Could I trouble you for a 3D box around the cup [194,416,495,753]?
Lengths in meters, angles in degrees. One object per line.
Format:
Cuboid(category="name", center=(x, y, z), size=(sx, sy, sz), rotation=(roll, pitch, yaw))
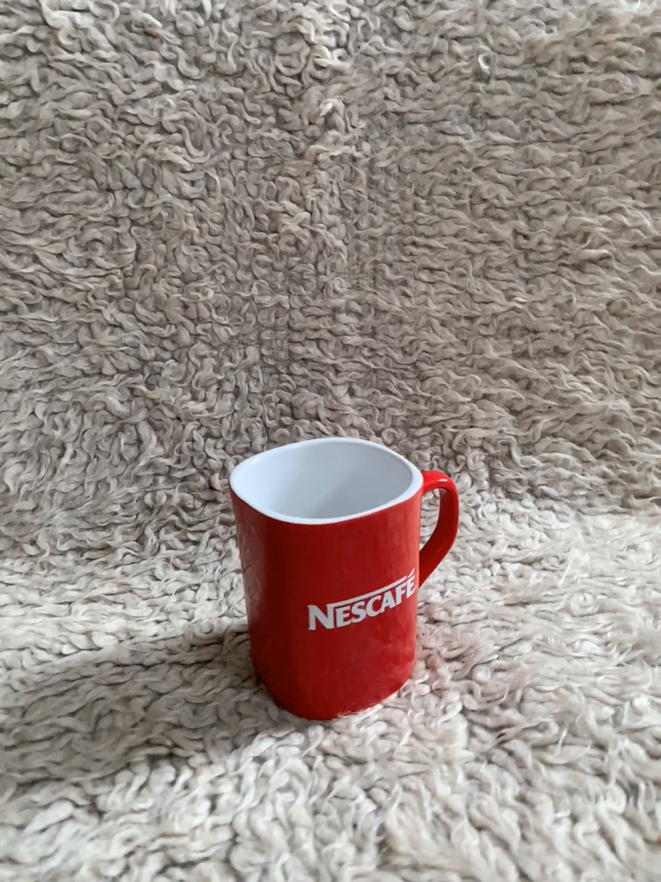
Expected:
Cuboid(category="cup", center=(0.008, 0.065, 0.359), size=(0.122, 0.110, 0.088), rotation=(-17, 27, -31))
